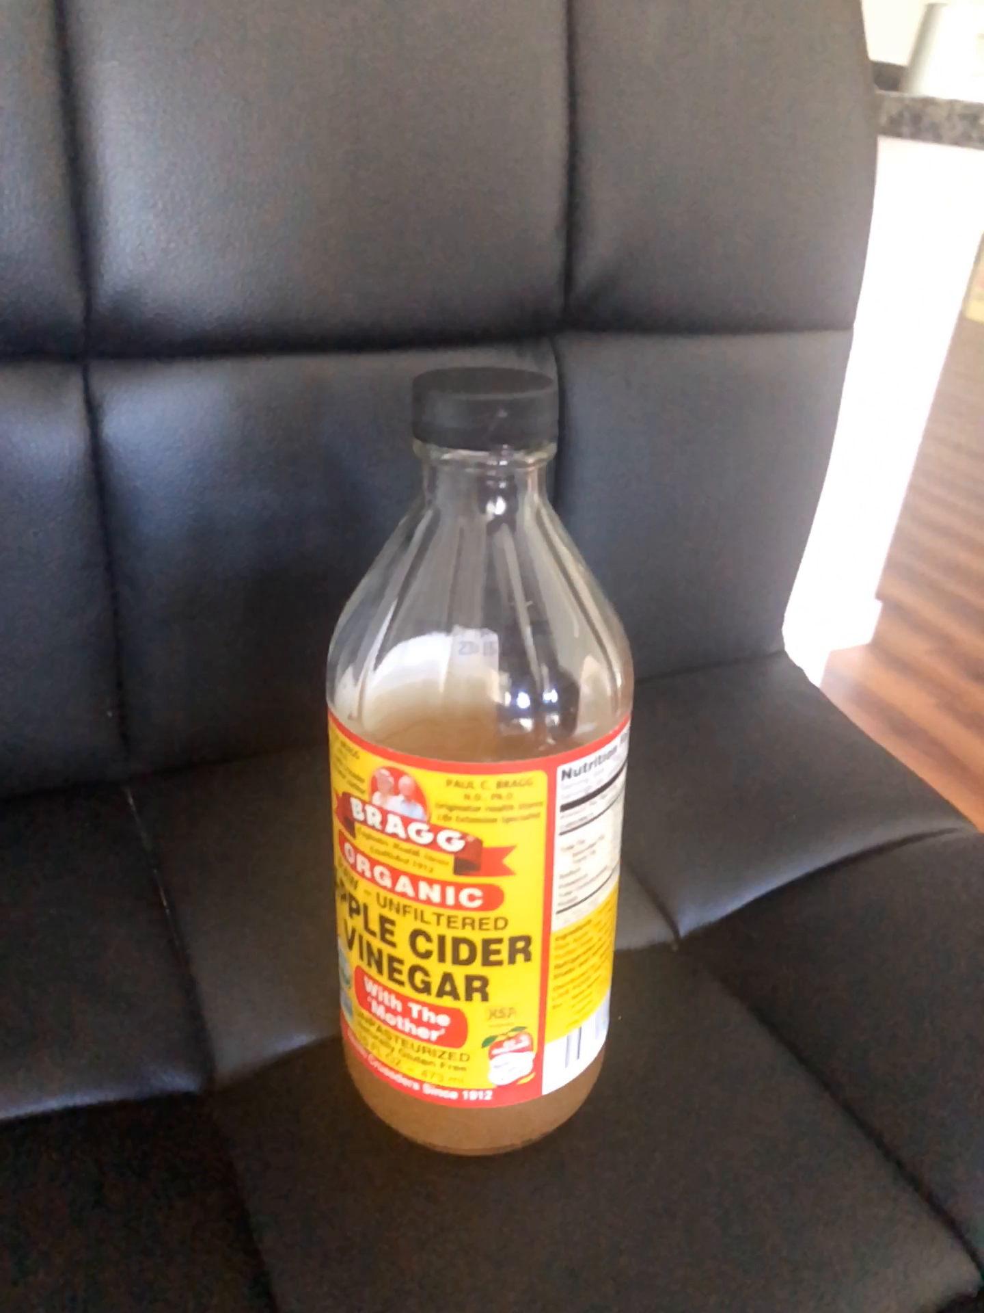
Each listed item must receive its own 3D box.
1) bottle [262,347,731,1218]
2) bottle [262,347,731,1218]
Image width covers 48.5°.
[{"bbox_3d":[-0.001,0.026,0.259,0.070,0.179,0.070,2,22,-1],"label":"bottle"},{"bbox_3d":[-0.001,0.026,0.259,0.070,0.179,0.070,2,22,-1],"label":"bottle"}]
